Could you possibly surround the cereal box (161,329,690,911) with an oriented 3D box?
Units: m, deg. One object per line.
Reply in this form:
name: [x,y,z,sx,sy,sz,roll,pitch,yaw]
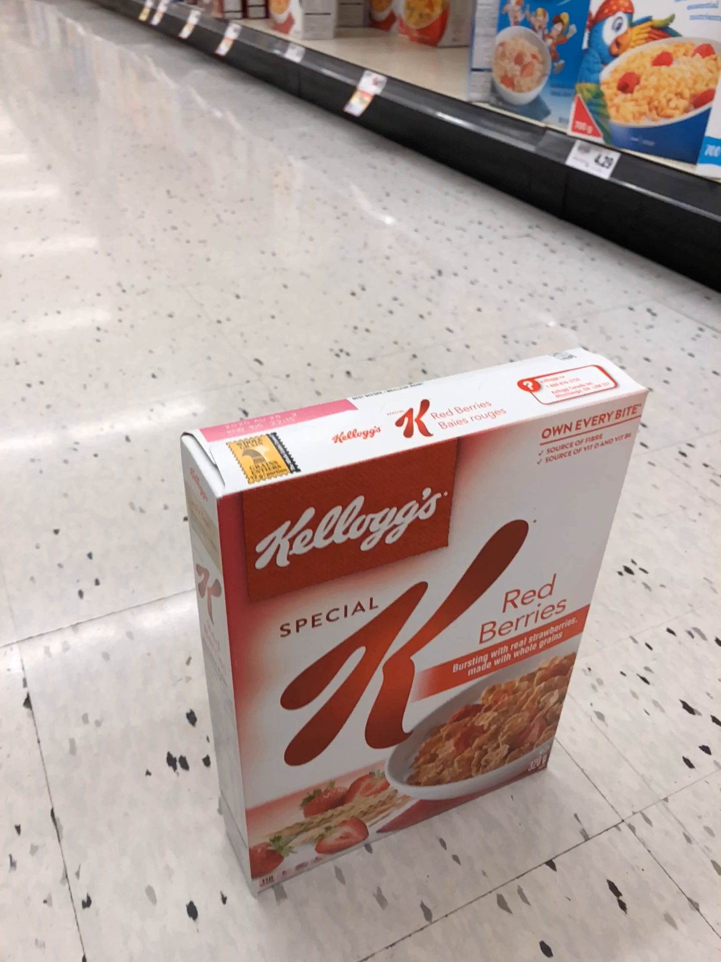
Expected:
cereal box: [0.028,0.073,0.394,0.210,0.258,0.060,-14,38,-22]
